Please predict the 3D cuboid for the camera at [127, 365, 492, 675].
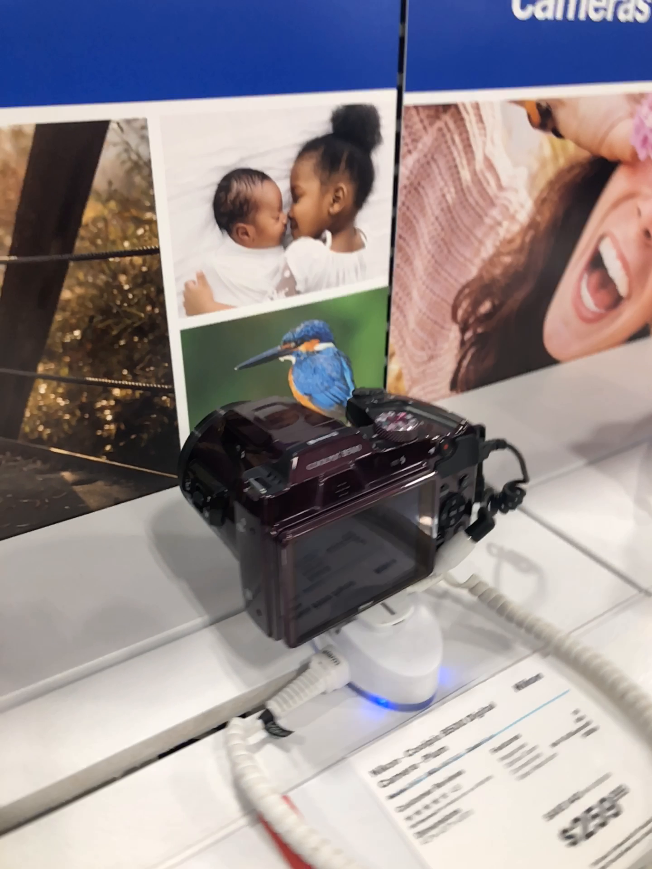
[{"bbox_3d":[-0.007,0.027,0.324,0.120,0.060,0.100,-20,34,-32],"label":"camera"}]
